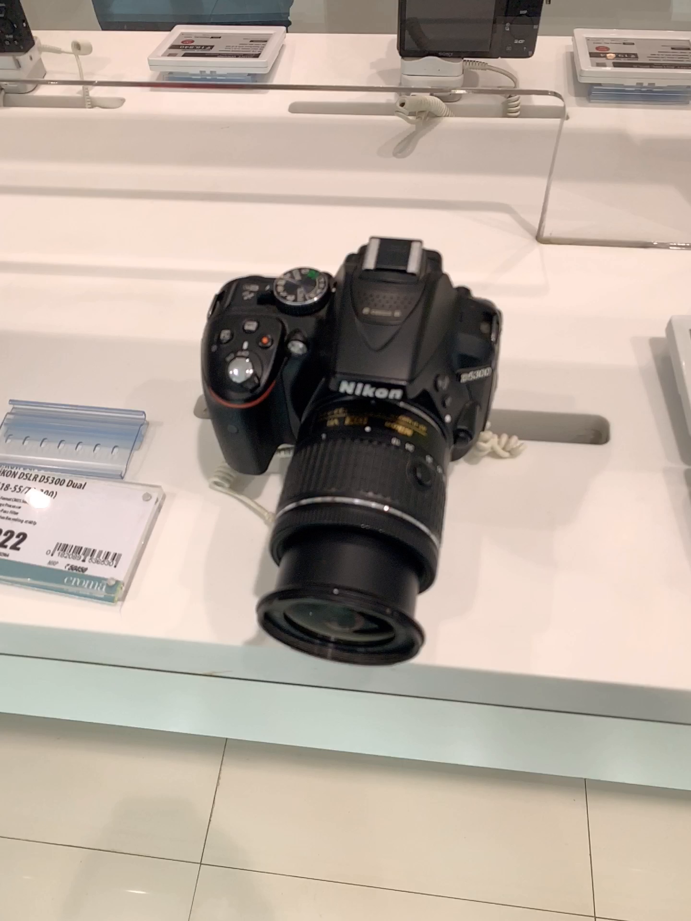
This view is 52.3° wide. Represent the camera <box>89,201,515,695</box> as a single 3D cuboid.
[{"bbox_3d":[-0.002,-0.006,0.270,0.110,0.110,0.140,7,54,8],"label":"camera"}]
